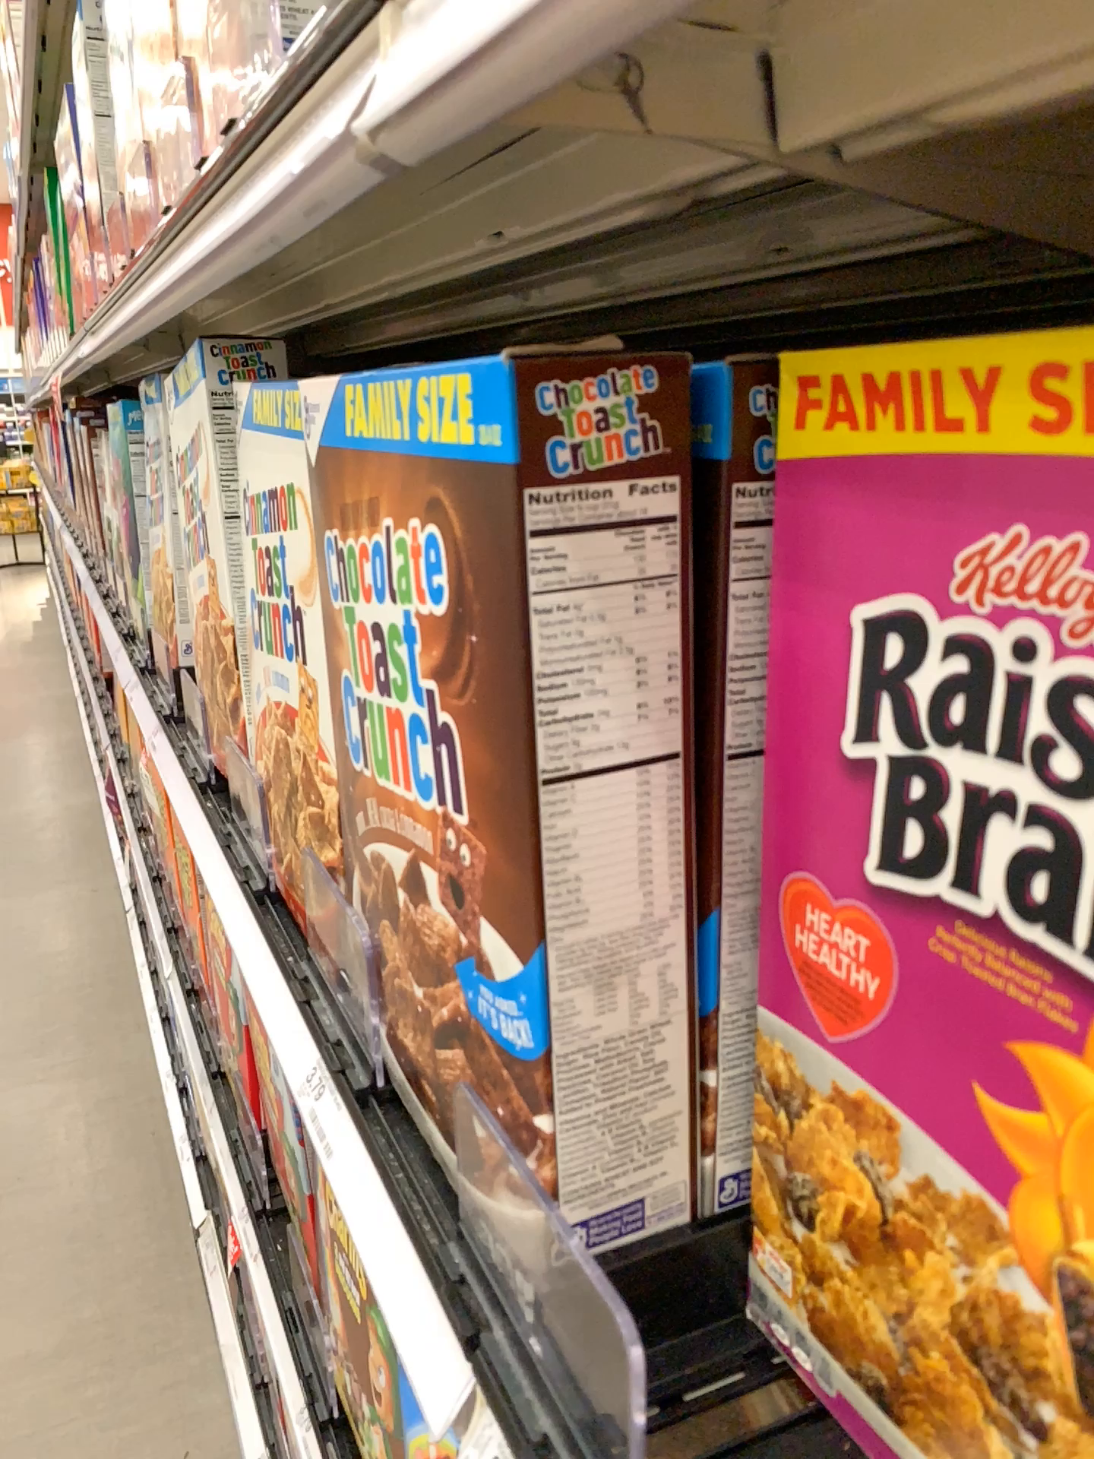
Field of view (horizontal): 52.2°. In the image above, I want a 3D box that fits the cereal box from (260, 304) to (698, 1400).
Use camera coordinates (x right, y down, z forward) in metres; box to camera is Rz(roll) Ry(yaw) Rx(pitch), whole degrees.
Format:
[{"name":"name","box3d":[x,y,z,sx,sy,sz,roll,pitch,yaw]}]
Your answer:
[{"name":"cereal box","box3d":[-0.035,0.019,0.411,0.060,0.309,0.241,-9,17,-24]}]
